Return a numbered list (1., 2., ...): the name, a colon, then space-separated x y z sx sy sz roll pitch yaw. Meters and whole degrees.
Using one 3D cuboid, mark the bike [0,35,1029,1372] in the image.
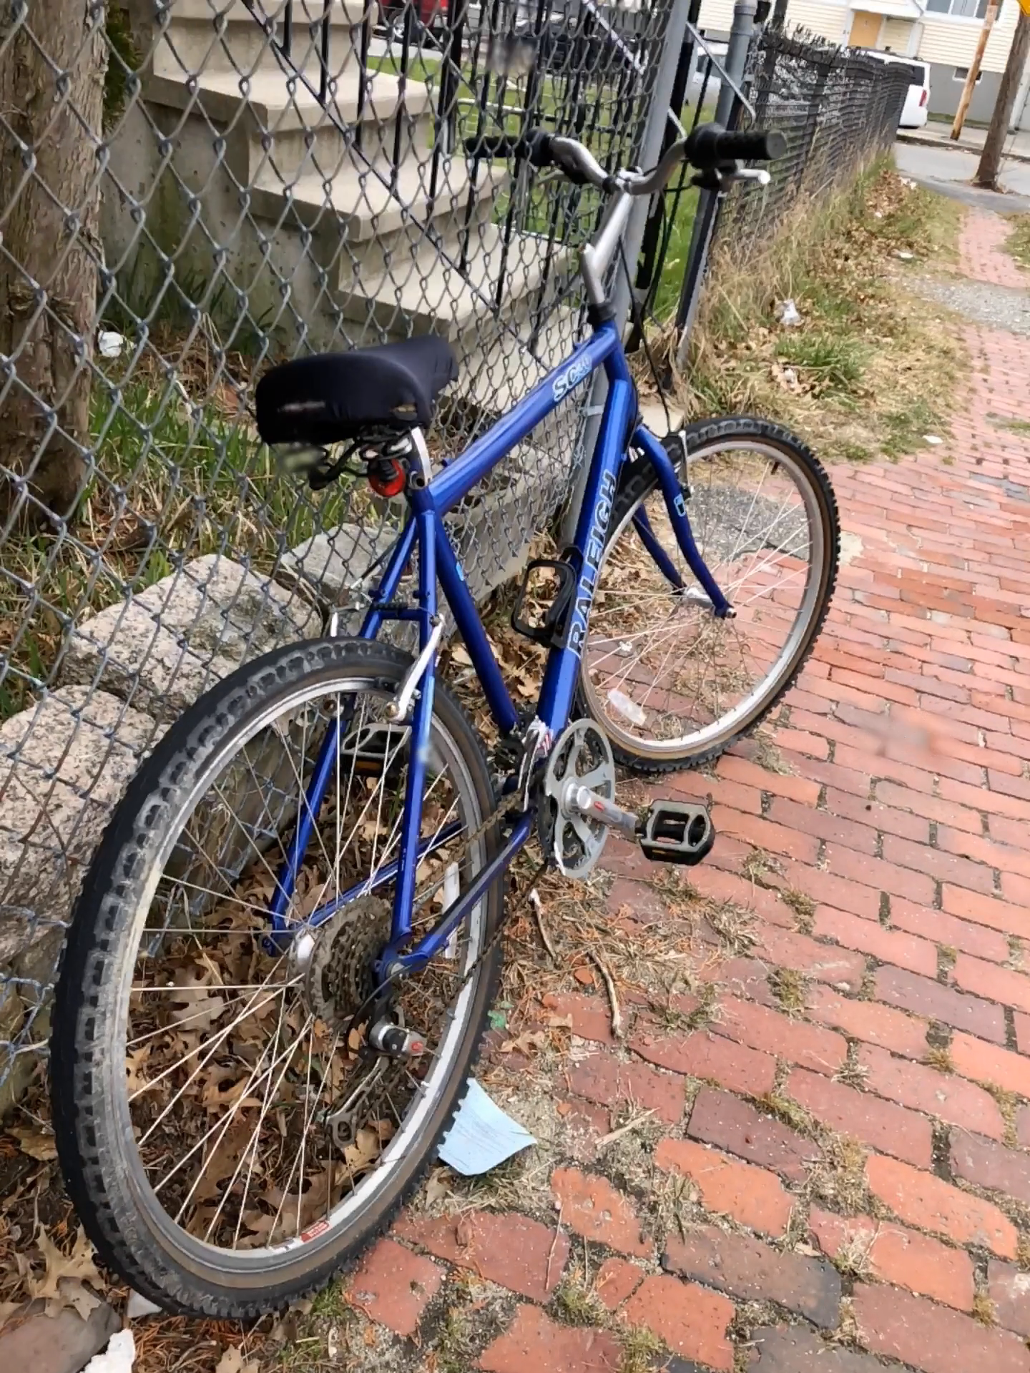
1. bike: -0.005 -0.179 1.442 0.679 1.024 1.674 22 34 25
